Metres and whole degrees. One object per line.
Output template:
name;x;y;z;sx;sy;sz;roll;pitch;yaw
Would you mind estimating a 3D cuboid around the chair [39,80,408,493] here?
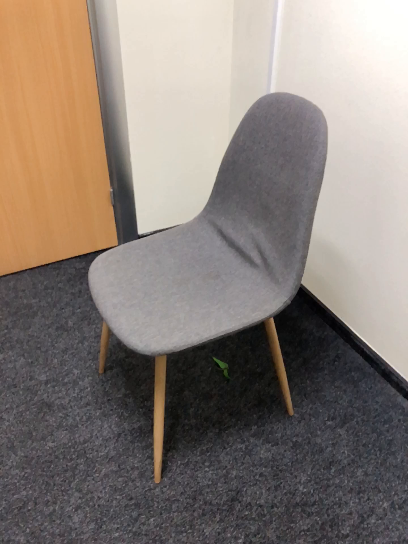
chair;0.022;0.011;1.145;0.601;0.784;0.473;-18;40;-24
